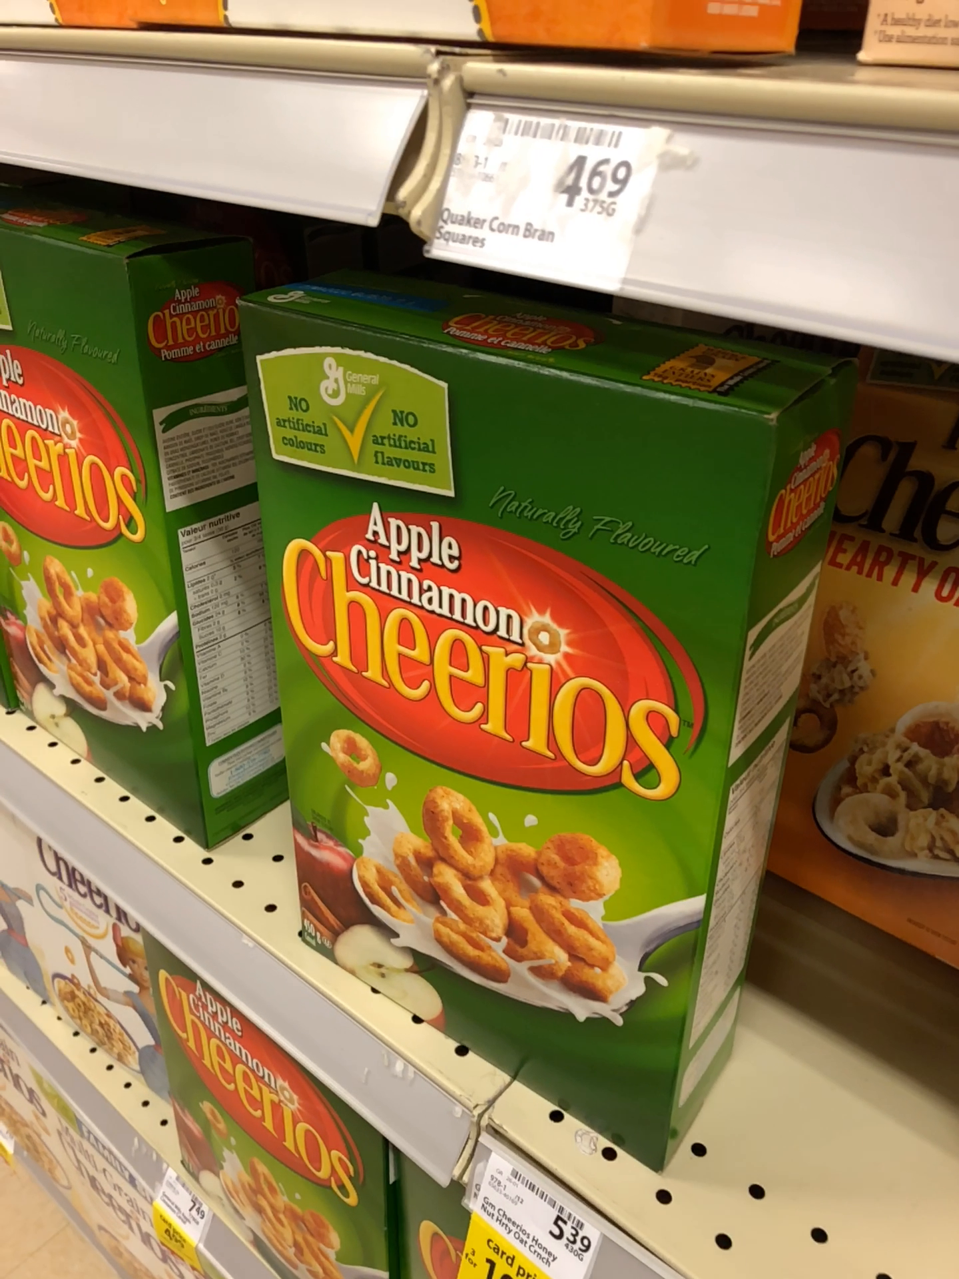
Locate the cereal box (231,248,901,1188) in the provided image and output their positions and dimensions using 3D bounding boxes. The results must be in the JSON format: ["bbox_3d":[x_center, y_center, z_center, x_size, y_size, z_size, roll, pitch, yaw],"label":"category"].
[{"bbox_3d":[0.016,0.030,0.402,0.201,0.308,0.070,21,35,31],"label":"cereal box"}]
